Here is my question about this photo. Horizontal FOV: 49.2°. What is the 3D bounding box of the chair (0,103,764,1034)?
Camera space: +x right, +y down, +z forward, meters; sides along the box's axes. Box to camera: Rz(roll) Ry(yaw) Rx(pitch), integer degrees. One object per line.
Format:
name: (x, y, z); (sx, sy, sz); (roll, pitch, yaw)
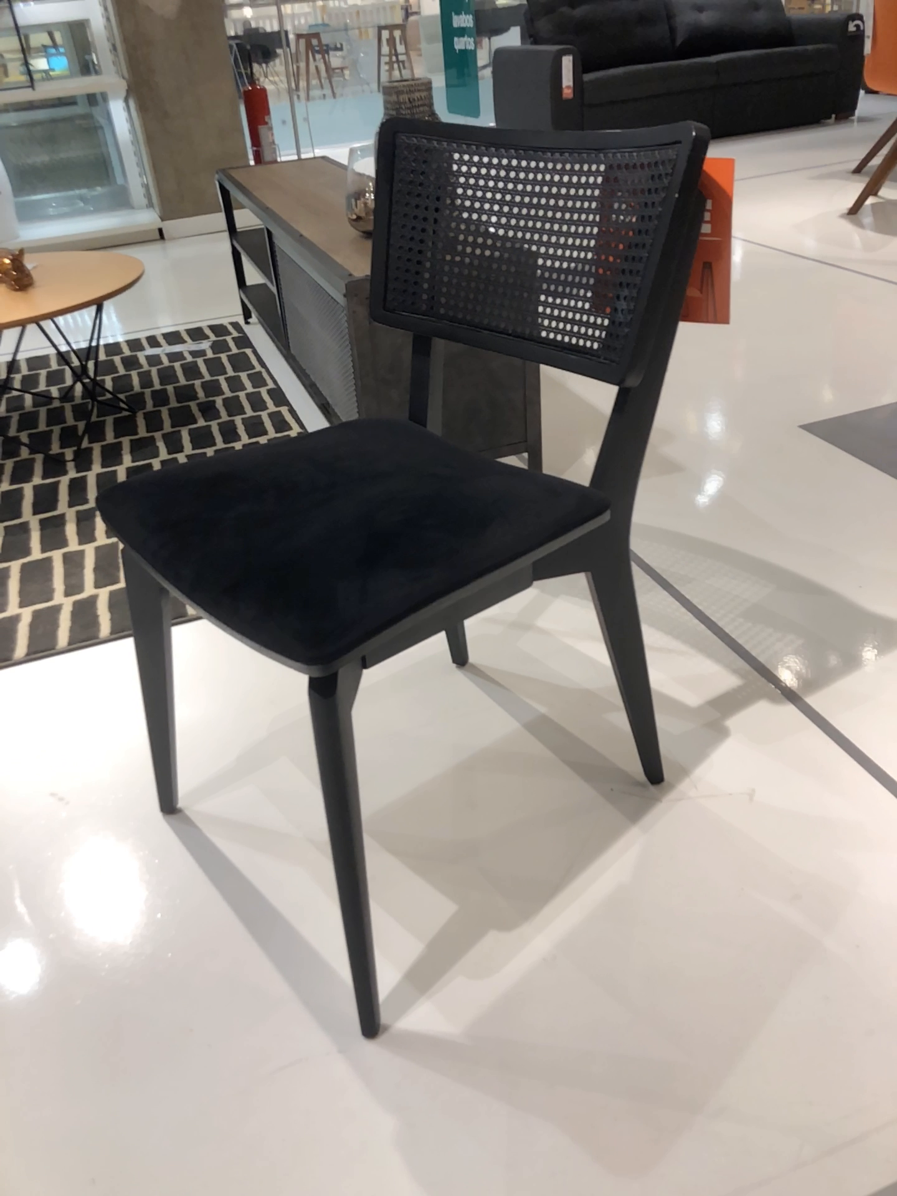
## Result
chair: (-0.071, -0.098, 1.085); (0.552, 0.744, 0.532); (-27, 37, -32)
